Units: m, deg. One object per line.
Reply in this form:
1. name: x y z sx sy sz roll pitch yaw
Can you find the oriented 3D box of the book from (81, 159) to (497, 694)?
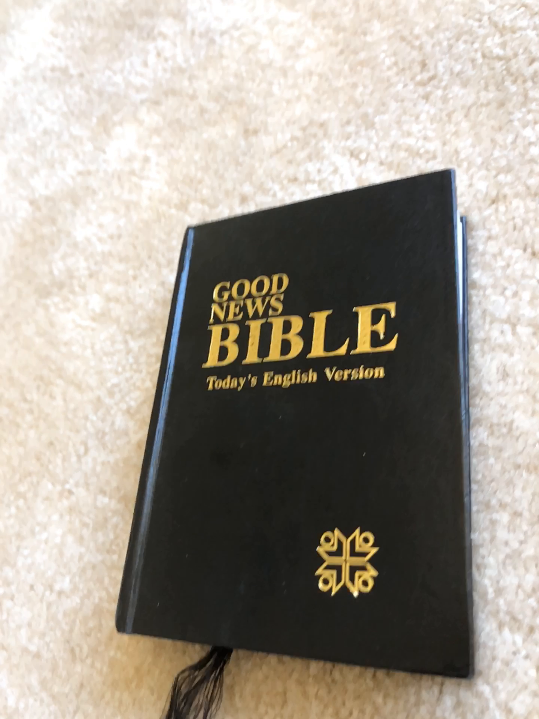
1. book: 0.011 0.018 0.217 0.124 0.040 0.160 -5 64 27
